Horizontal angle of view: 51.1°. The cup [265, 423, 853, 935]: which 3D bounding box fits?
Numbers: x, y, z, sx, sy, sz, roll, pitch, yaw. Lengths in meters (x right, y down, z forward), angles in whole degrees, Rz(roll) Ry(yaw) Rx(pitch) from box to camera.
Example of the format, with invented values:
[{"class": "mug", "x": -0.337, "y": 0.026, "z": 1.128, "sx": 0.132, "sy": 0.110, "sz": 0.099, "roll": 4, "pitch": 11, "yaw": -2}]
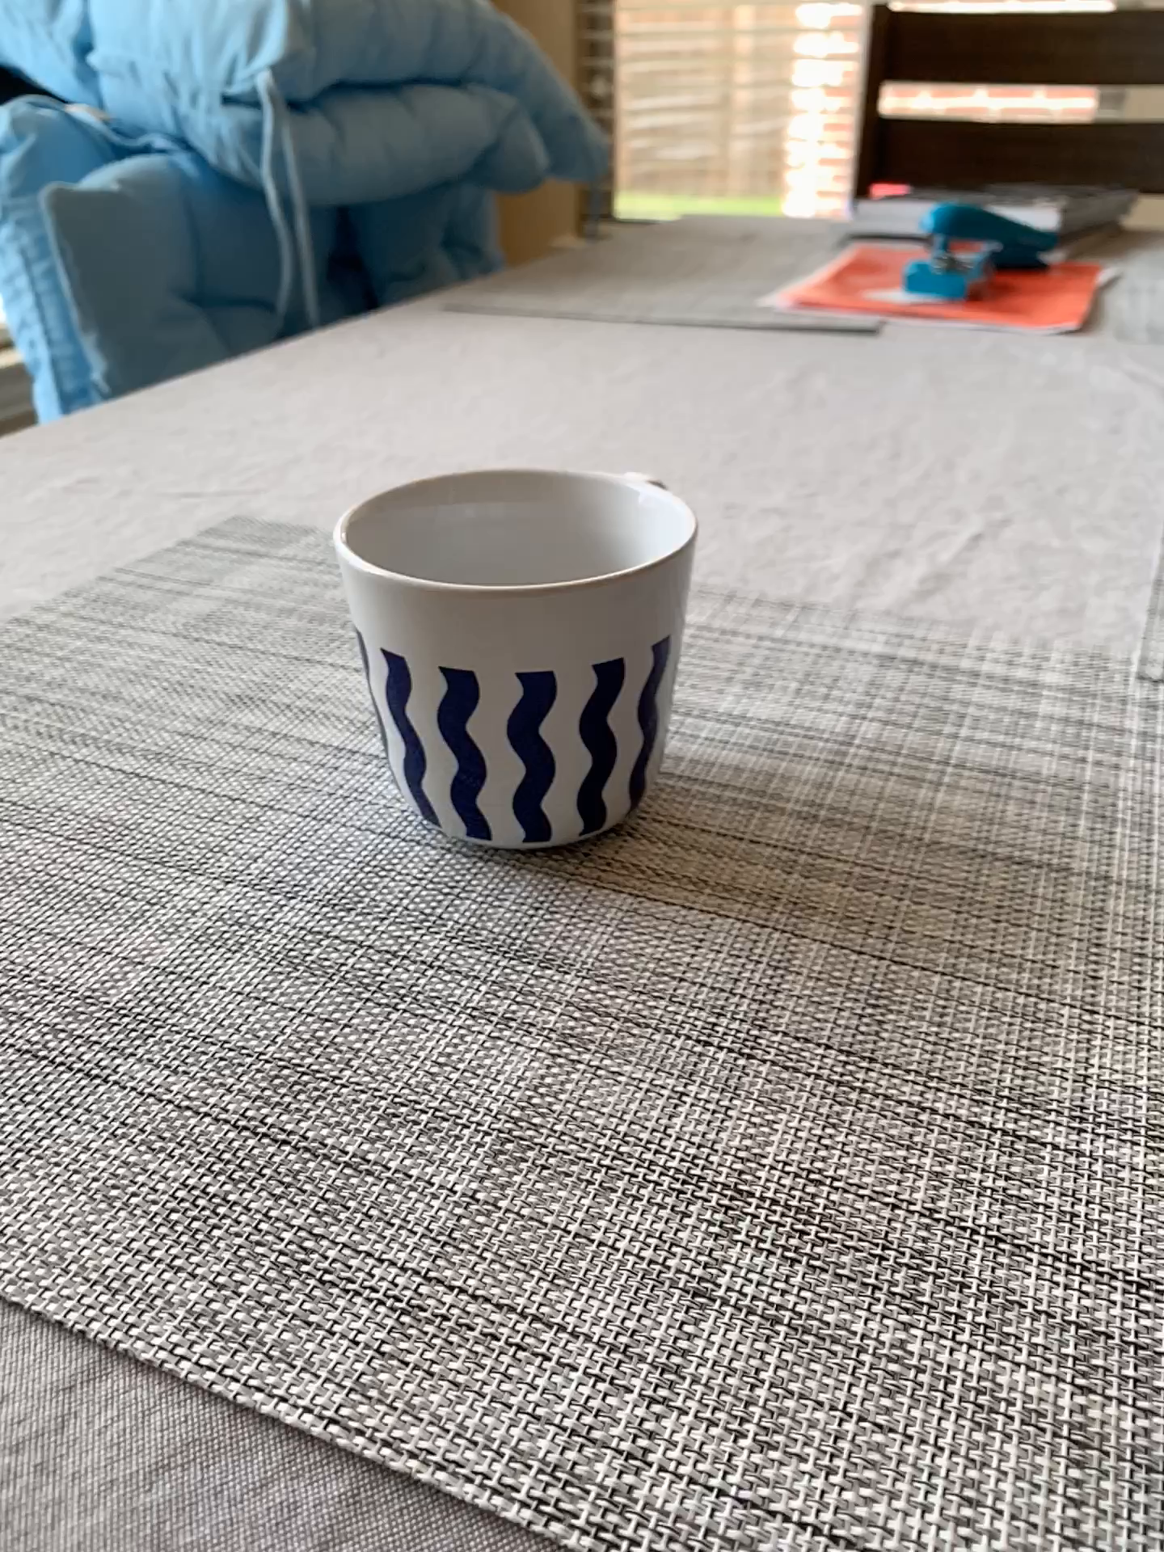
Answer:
[{"class": "cup", "x": -0.002, "y": -0.033, "z": 0.305, "sx": 0.087, "sy": 0.072, "sz": 0.113, "roll": 22, "pitch": 38, "yaw": 33}]
